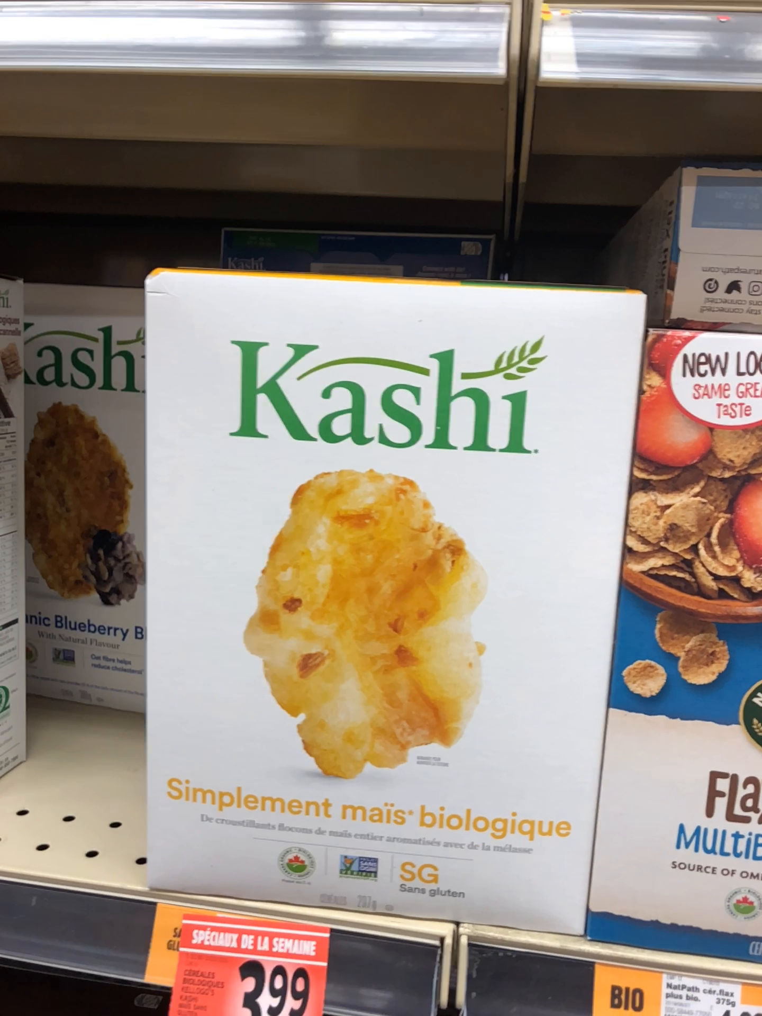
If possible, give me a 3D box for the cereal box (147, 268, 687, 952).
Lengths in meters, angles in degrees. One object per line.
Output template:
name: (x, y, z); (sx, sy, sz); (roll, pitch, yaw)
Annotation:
cereal box: (0.007, 0.041, 0.367); (0.200, 0.269, 0.060); (4, 11, 5)
